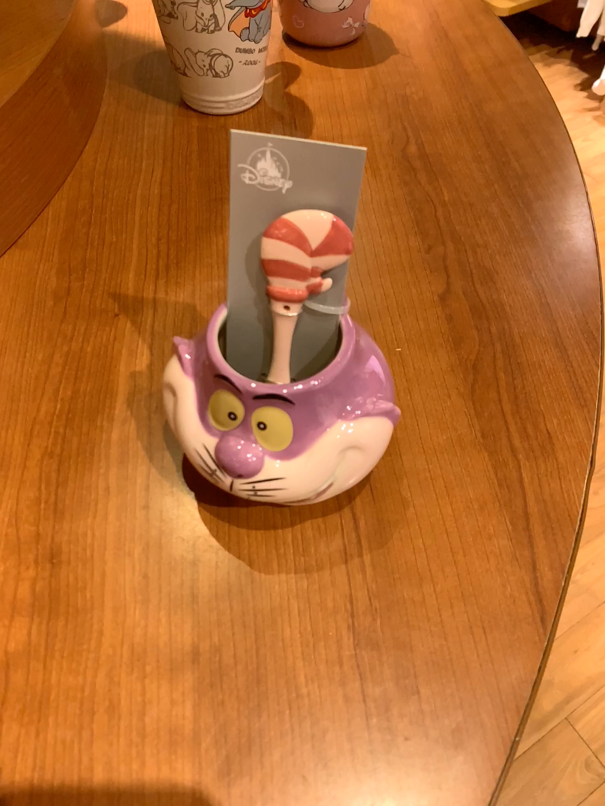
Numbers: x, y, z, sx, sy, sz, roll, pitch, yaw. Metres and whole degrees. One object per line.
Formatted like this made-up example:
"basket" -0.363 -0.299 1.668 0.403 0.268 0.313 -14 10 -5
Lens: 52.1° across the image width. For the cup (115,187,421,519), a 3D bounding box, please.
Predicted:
"cup" -0.010 -0.028 0.303 0.114 0.077 0.143 2 54 2
